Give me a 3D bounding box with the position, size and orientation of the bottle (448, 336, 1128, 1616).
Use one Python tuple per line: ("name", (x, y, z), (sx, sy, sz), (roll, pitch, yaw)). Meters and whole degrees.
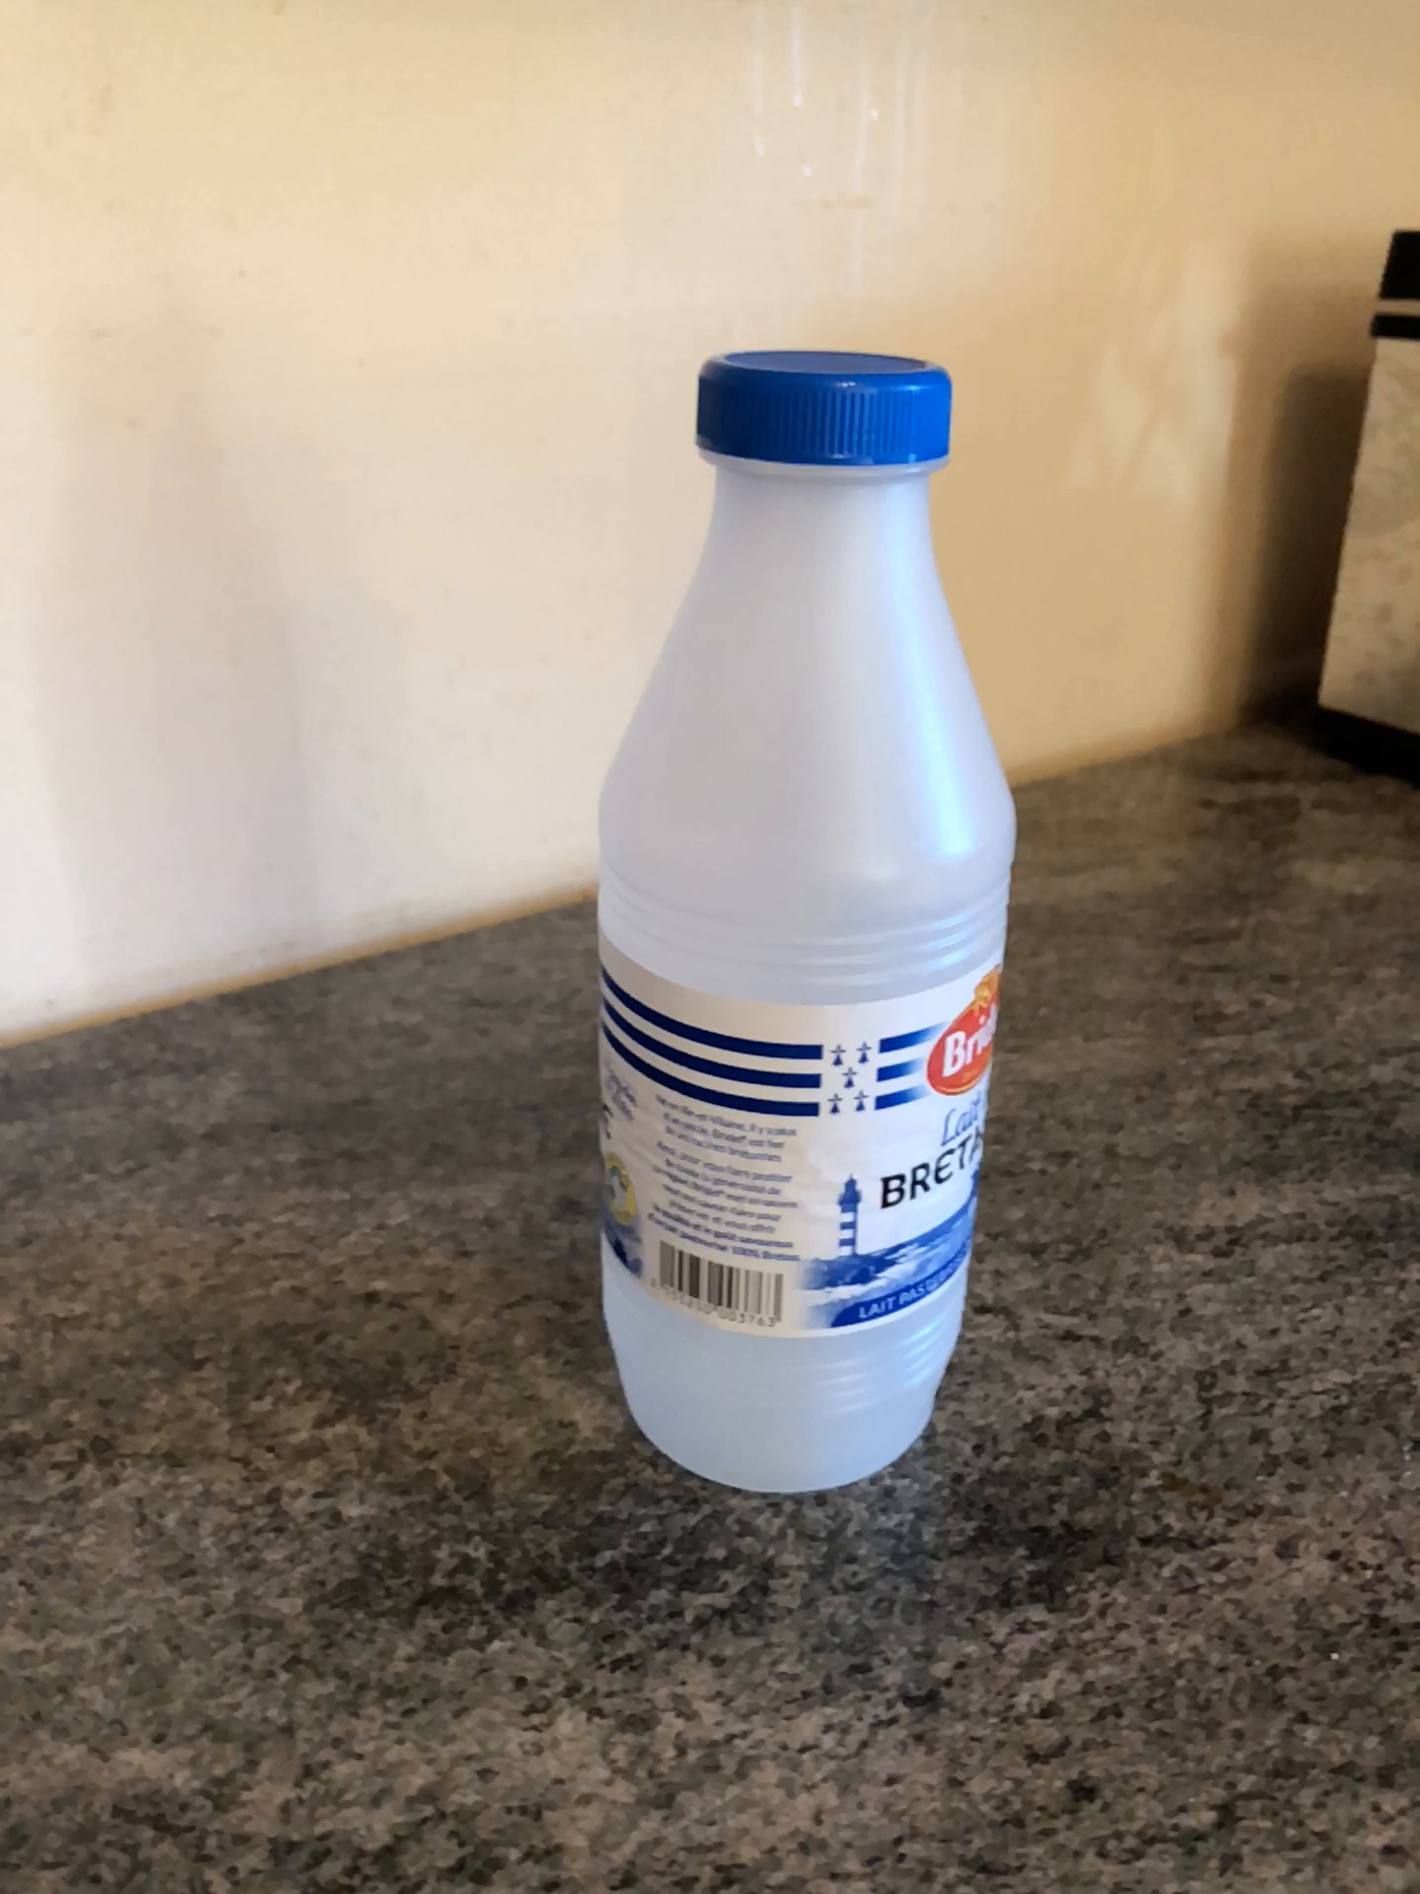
("bottle", (0.016, 0.002, 0.333), (0.090, 0.239, 0.091), (0, 24, 0))
